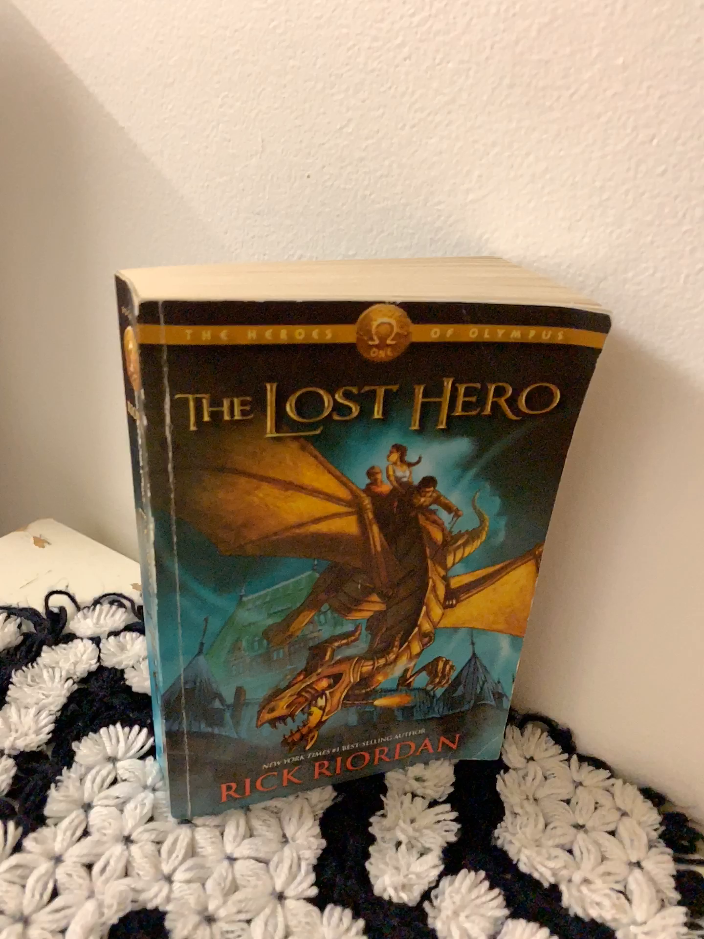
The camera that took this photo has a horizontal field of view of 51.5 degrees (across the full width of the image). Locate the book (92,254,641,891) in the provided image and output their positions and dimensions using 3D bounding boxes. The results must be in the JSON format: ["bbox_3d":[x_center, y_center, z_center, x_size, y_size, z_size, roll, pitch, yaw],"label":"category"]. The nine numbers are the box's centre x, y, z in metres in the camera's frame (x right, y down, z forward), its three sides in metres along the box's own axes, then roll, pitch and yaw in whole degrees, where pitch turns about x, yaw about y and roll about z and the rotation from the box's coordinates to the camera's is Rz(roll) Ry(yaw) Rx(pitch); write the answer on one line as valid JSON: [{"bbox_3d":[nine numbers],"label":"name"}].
[{"bbox_3d":[-0.002,0.025,0.241,0.142,0.177,0.068,-6,24,-21],"label":"book"}]
